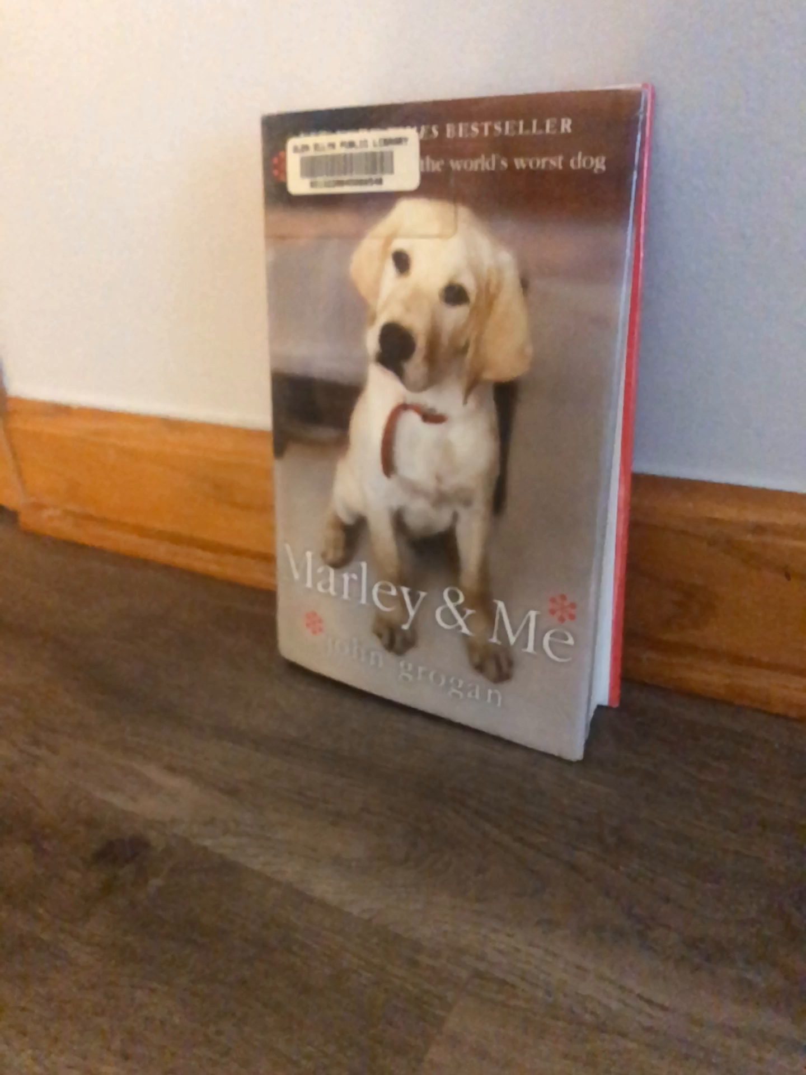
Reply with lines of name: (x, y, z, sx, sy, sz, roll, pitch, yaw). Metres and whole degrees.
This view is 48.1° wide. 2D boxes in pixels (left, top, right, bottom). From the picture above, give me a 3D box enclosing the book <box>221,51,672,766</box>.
book: (0.009, -0.045, 0.332, 0.151, 0.219, 0.040, 12, 21, 33)
